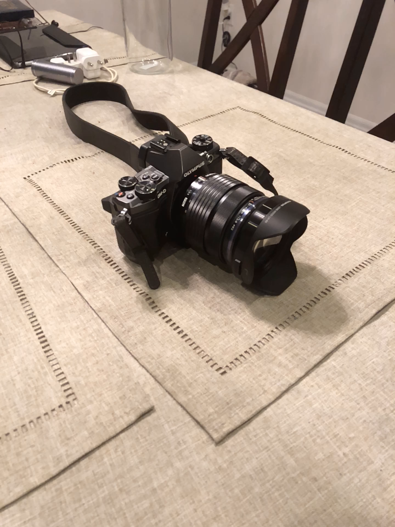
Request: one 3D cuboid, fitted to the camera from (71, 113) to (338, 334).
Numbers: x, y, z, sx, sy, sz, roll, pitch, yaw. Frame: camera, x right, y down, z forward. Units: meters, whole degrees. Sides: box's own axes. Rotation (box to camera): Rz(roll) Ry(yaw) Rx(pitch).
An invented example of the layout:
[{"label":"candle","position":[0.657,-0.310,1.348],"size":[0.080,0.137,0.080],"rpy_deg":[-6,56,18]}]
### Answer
[{"label":"camera","position":[0.007,-0.046,0.364],"size":[0.165,0.092,0.125],"rpy_deg":[23,45,29]}]
